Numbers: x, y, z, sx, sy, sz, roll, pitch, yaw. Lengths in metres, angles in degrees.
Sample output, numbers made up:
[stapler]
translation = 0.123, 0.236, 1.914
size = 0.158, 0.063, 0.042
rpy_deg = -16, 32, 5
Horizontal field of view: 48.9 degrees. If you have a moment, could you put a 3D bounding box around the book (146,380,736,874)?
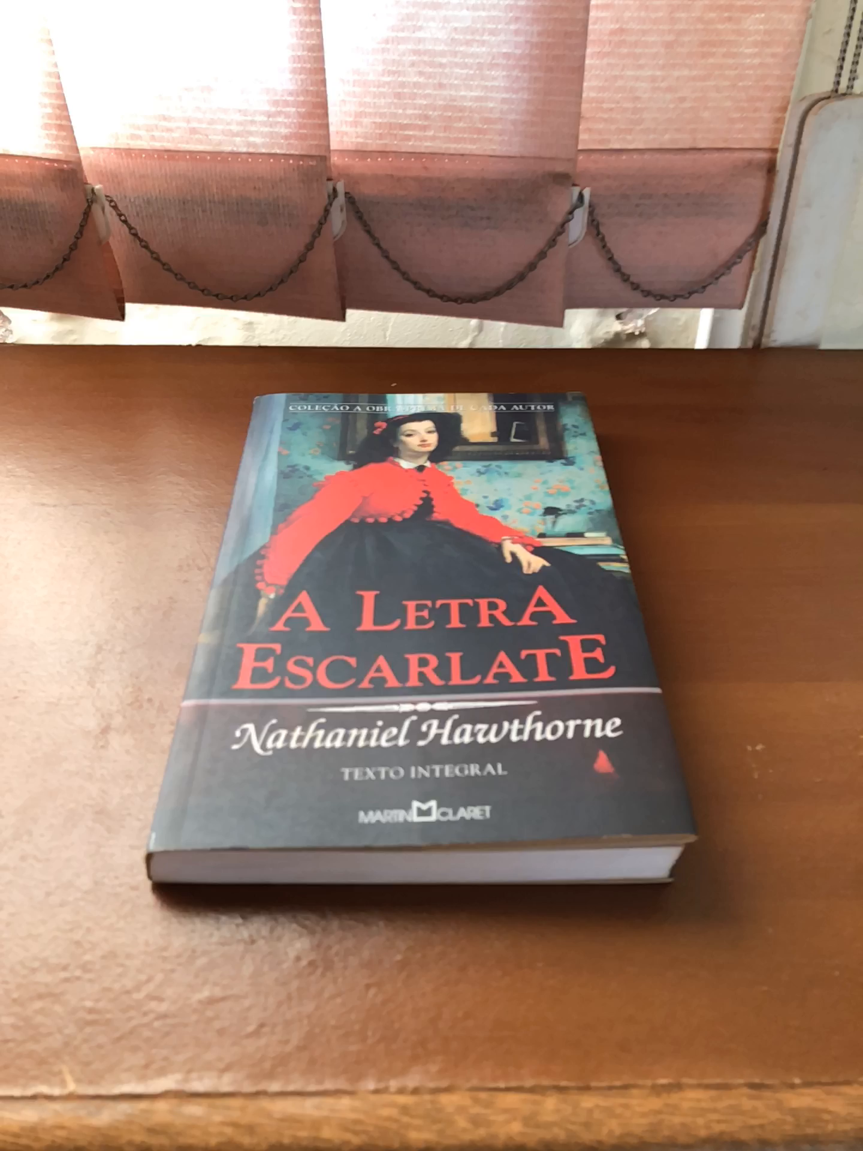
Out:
[book]
translation = 0.001, -0.002, 0.247
size = 0.111, 0.015, 0.167
rpy_deg = -1, 41, 0
